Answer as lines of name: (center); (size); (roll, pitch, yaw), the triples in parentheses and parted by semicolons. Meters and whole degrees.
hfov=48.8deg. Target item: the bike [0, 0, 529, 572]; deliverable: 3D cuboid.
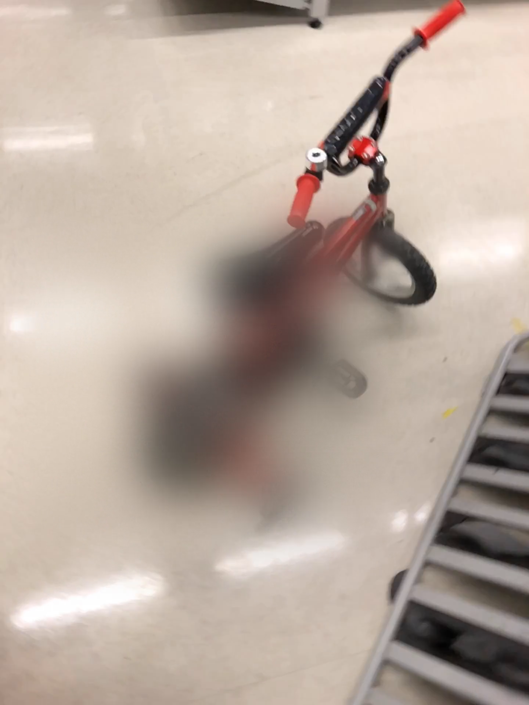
bike: (0.000, -0.153, 1.051); (0.531, 0.679, 0.701); (30, 61, 14)
